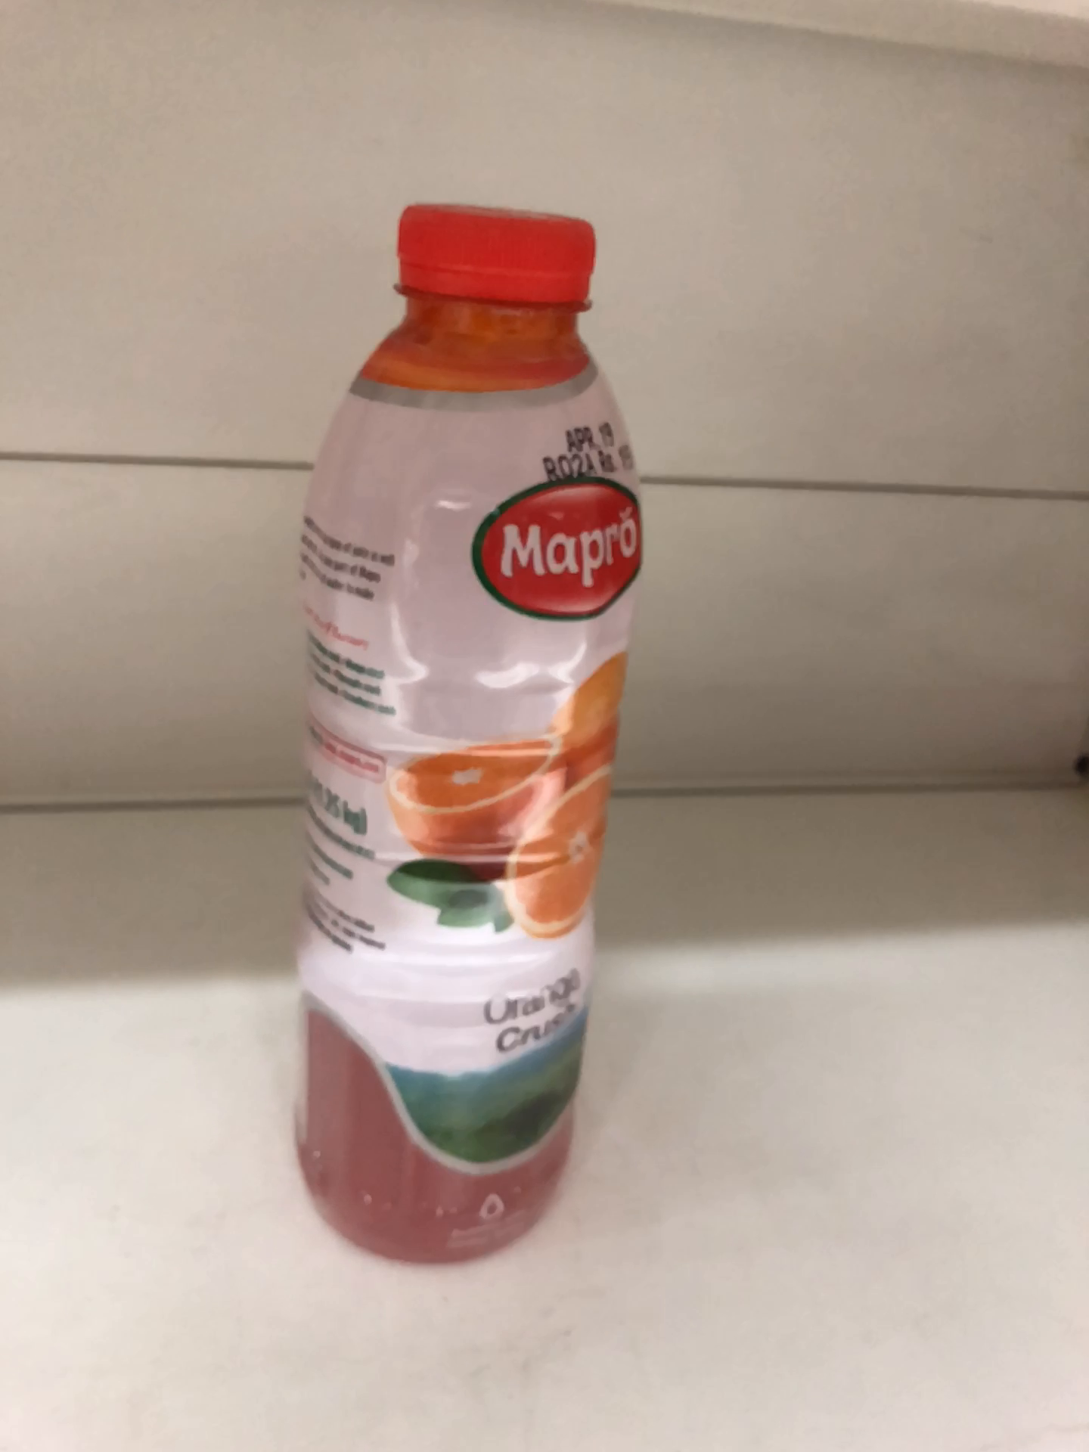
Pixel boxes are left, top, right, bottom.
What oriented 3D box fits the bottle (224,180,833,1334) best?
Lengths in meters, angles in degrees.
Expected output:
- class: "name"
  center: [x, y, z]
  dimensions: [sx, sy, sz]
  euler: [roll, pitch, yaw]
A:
- class: "bottle"
  center: [-0.014, 0.007, 0.289]
  dimensions: [0.090, 0.239, 0.080]
  euler: [-13, 30, -35]
